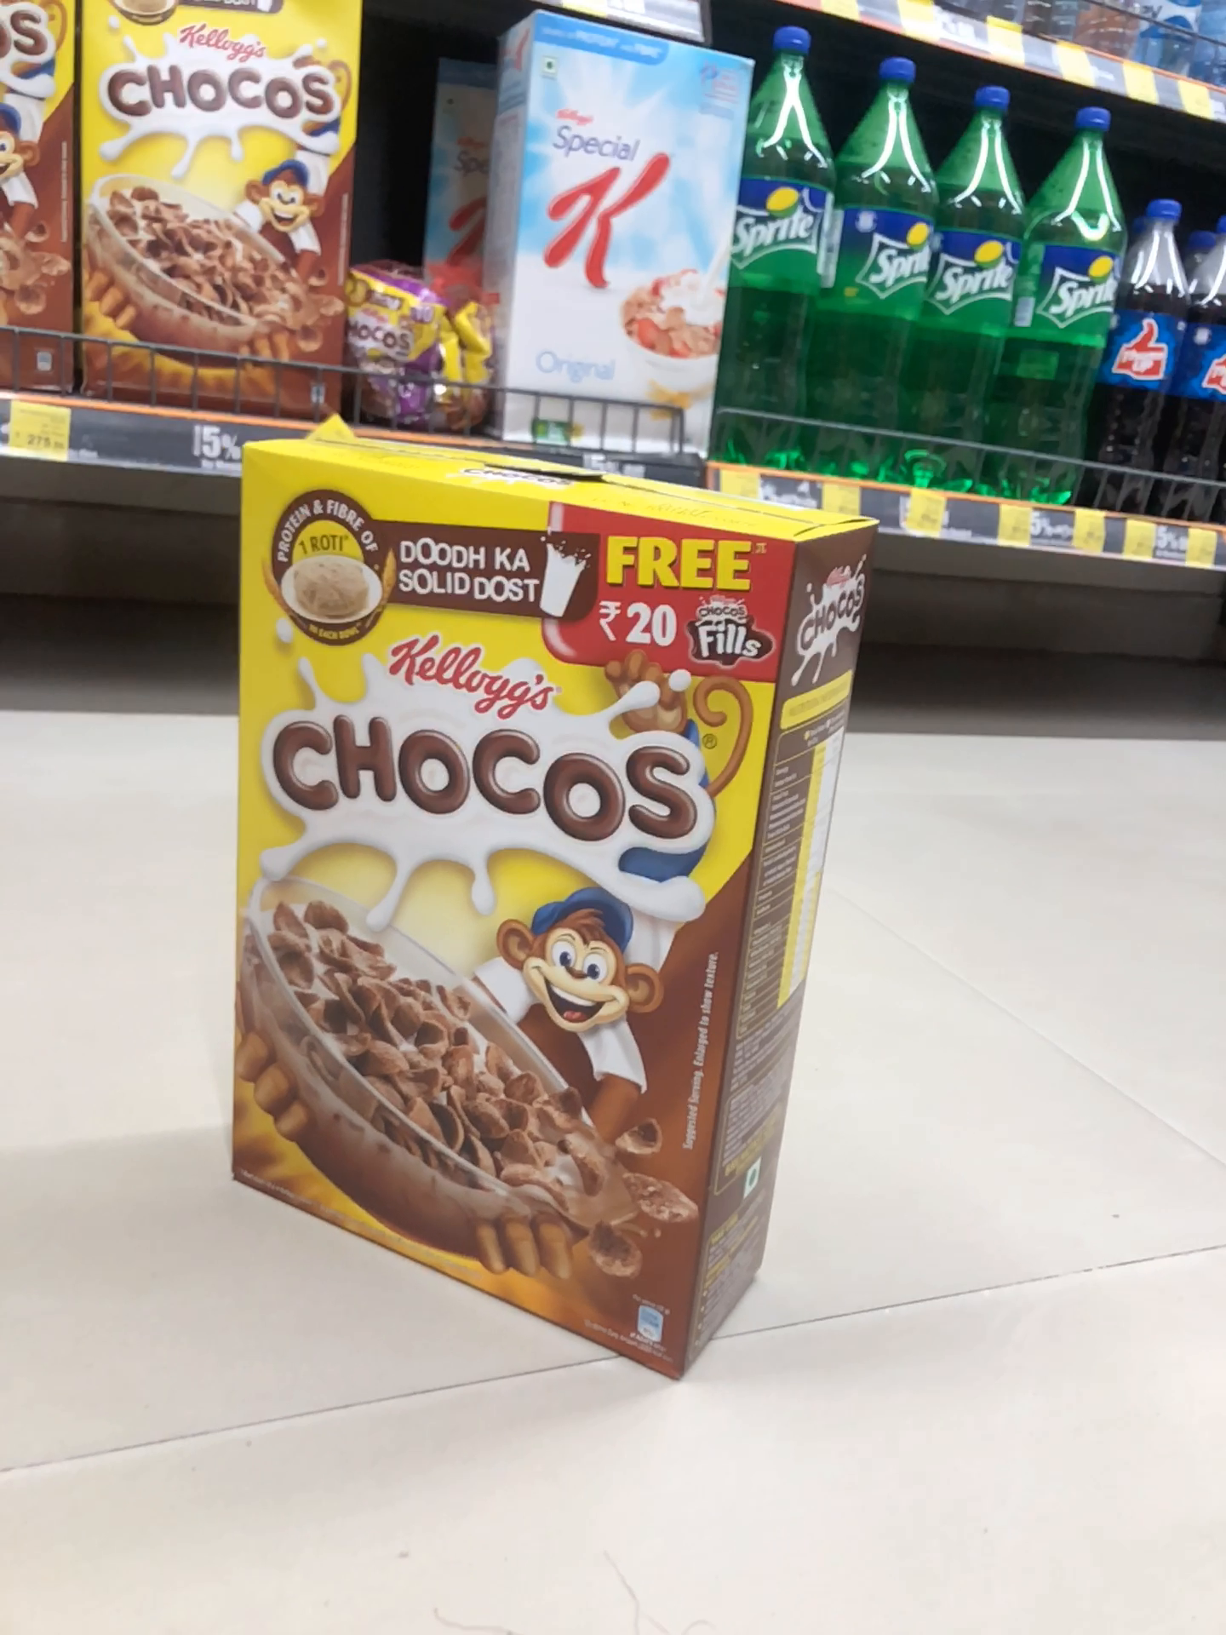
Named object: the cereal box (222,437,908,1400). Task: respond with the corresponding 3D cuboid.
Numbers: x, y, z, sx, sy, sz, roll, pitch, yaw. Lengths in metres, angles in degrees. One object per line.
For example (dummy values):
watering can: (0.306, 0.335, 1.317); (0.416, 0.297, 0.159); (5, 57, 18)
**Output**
cereal box: (-0.029, 0.024, 0.437); (0.190, 0.259, 0.070); (15, 21, 24)
